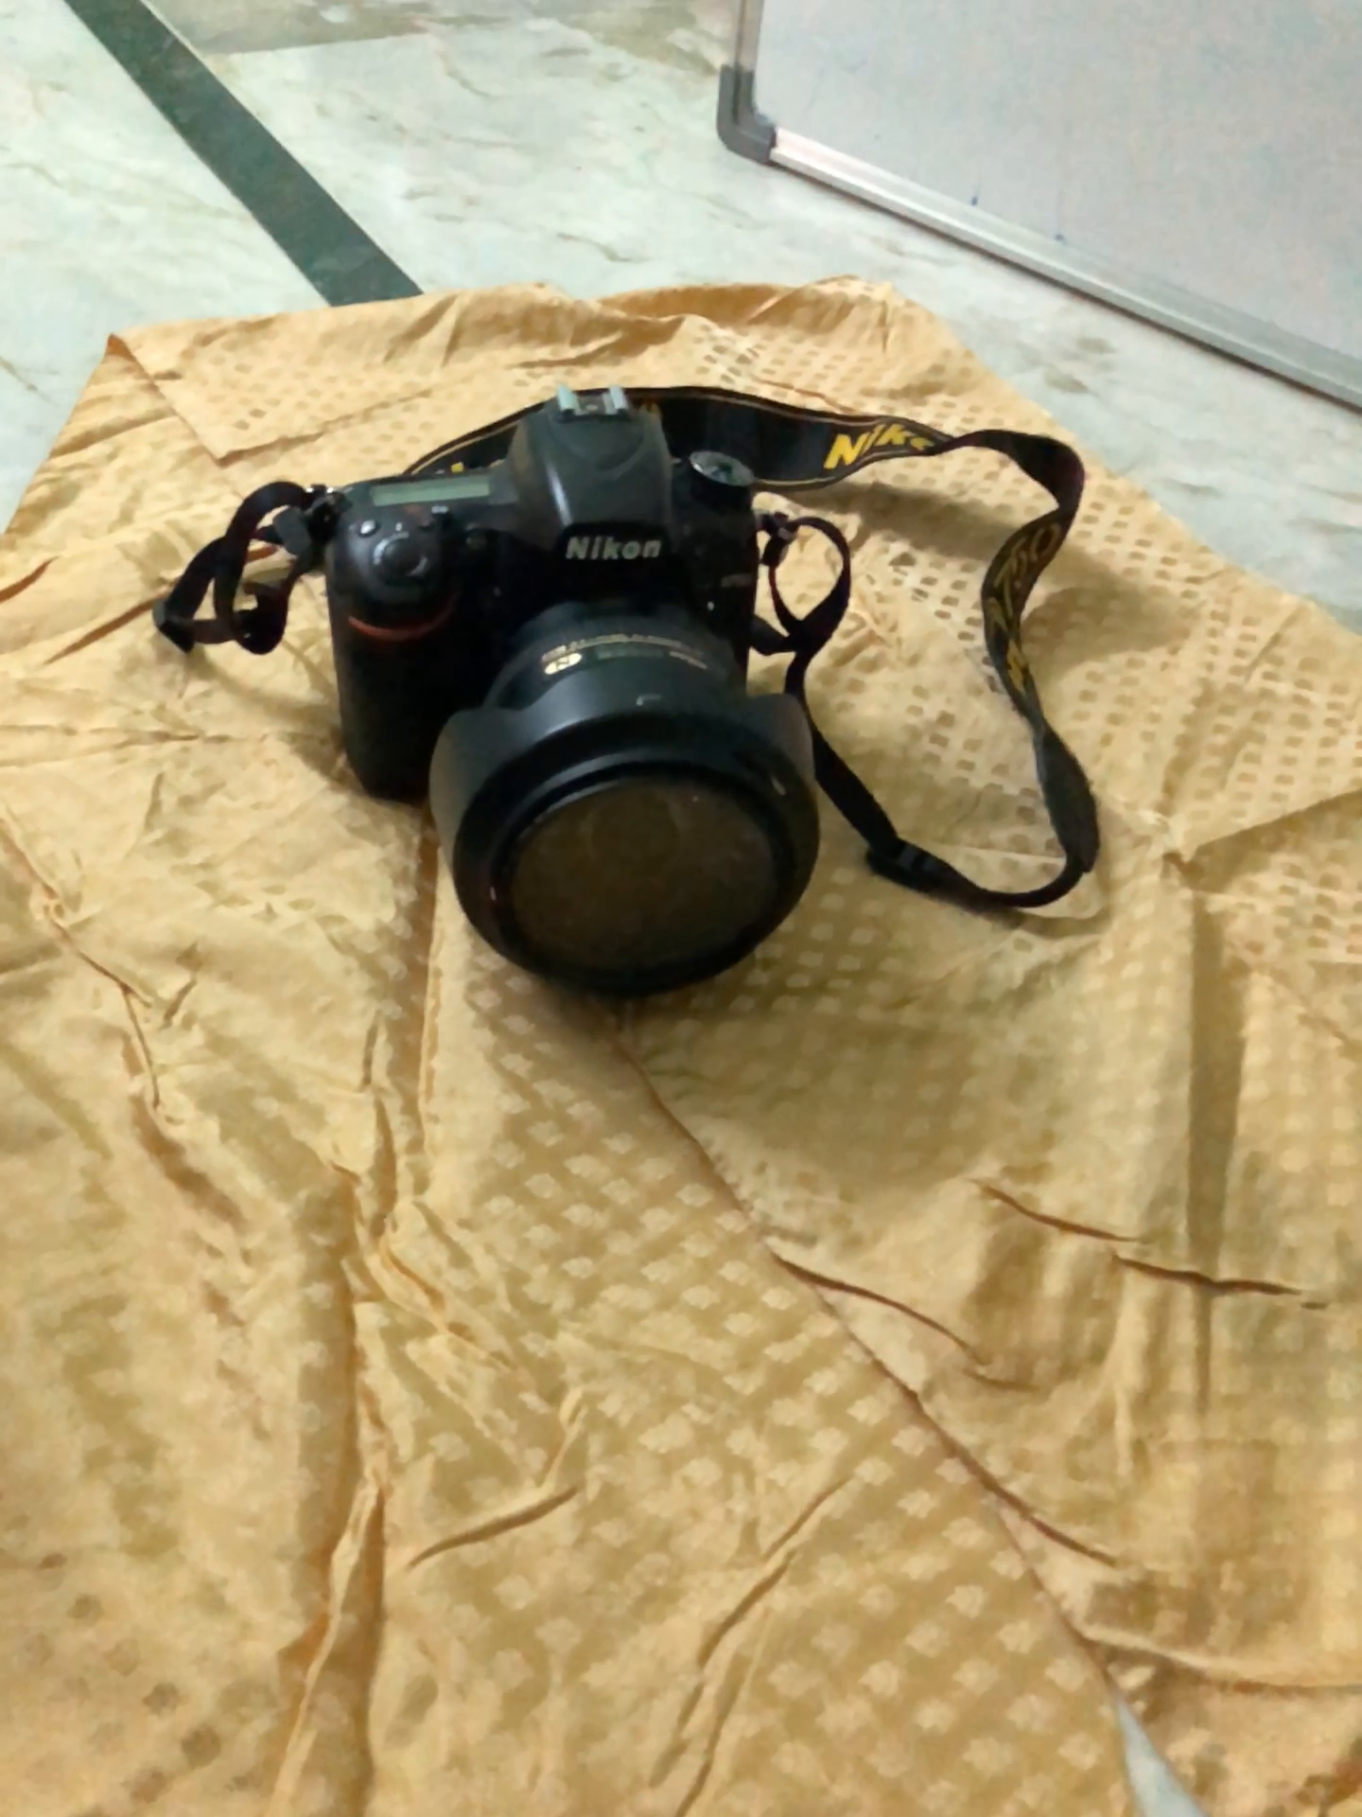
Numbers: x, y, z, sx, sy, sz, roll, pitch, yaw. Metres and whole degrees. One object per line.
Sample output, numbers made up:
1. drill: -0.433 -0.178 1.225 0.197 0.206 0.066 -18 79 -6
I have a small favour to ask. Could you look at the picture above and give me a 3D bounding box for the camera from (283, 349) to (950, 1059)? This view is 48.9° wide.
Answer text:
1. camera: -0.030 -0.066 0.429 0.149 0.109 0.171 -5 48 -10
